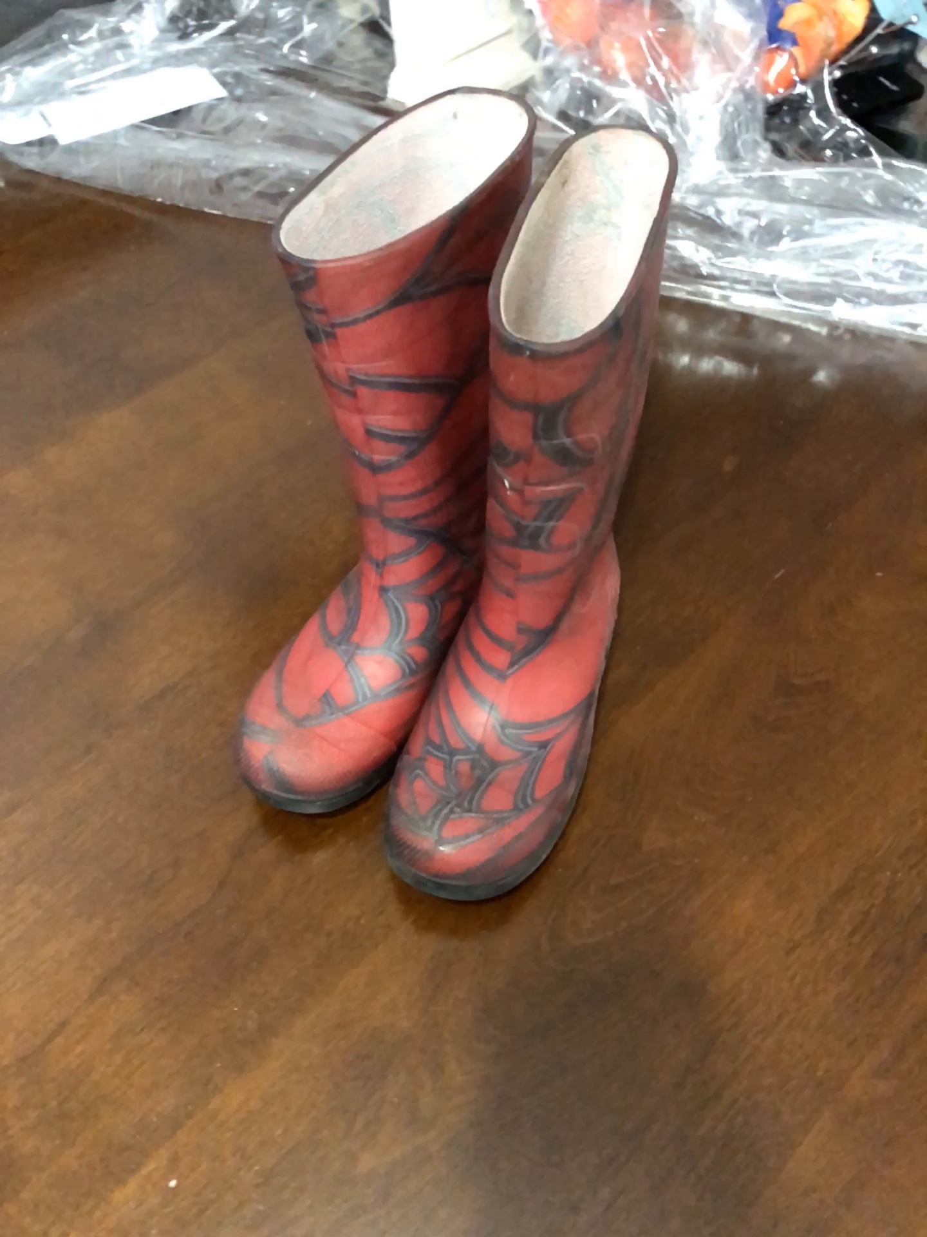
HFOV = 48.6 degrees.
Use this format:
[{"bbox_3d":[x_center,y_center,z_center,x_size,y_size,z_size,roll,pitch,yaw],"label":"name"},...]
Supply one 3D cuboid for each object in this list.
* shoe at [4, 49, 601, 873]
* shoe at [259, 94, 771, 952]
[{"bbox_3d":[-0.036,-0.054,0.420,0.080,0.239,0.220,23,57,17],"label":"shoe"},{"bbox_3d":[0.030,-0.026,0.402,0.080,0.239,0.220,18,56,14],"label":"shoe"}]
